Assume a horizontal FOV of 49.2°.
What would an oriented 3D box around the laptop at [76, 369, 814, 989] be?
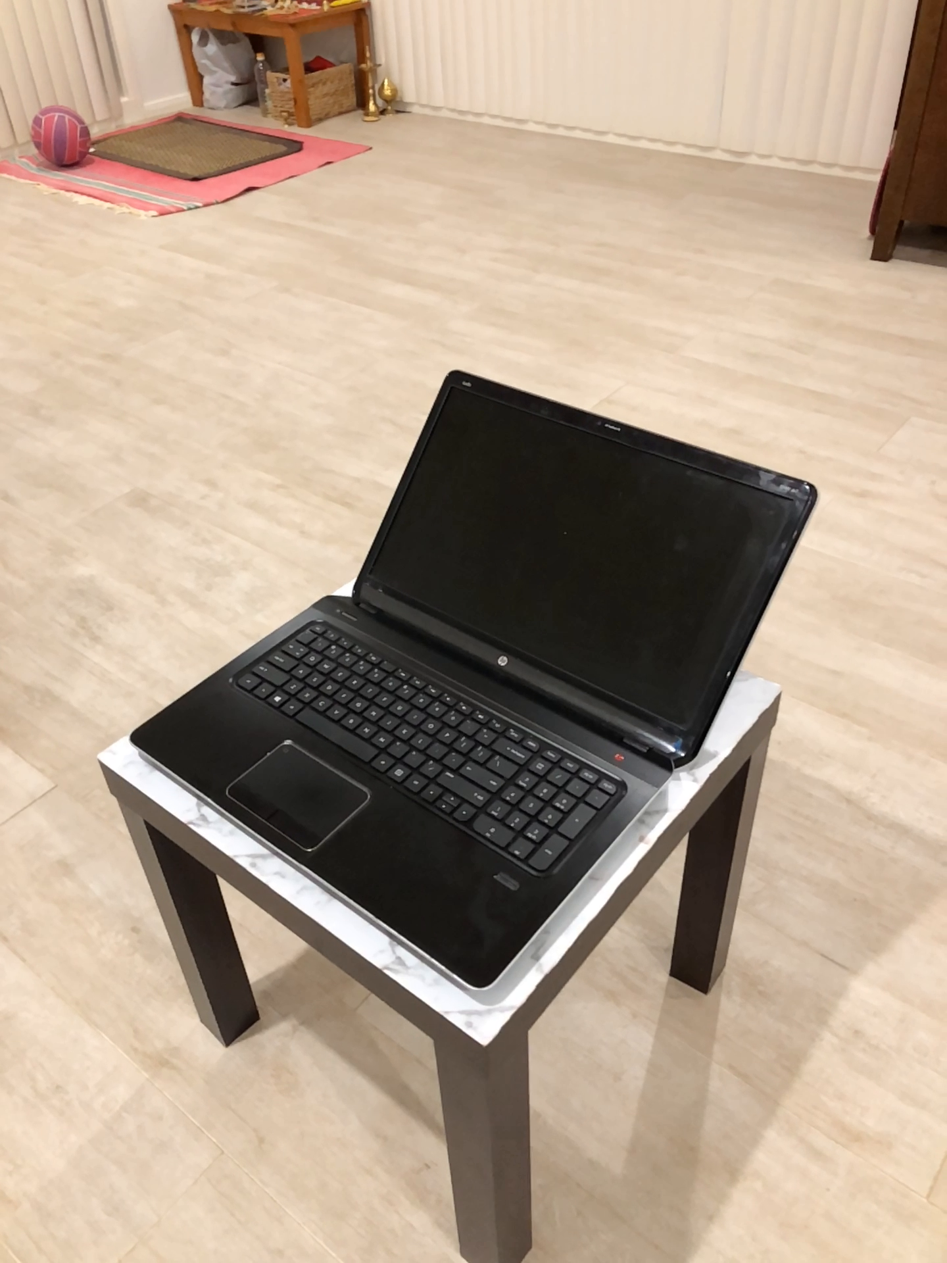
[{"bbox_3d":[-0.010,-0.013,0.863,0.387,0.169,0.439,27,48,31],"label":"laptop"}]
